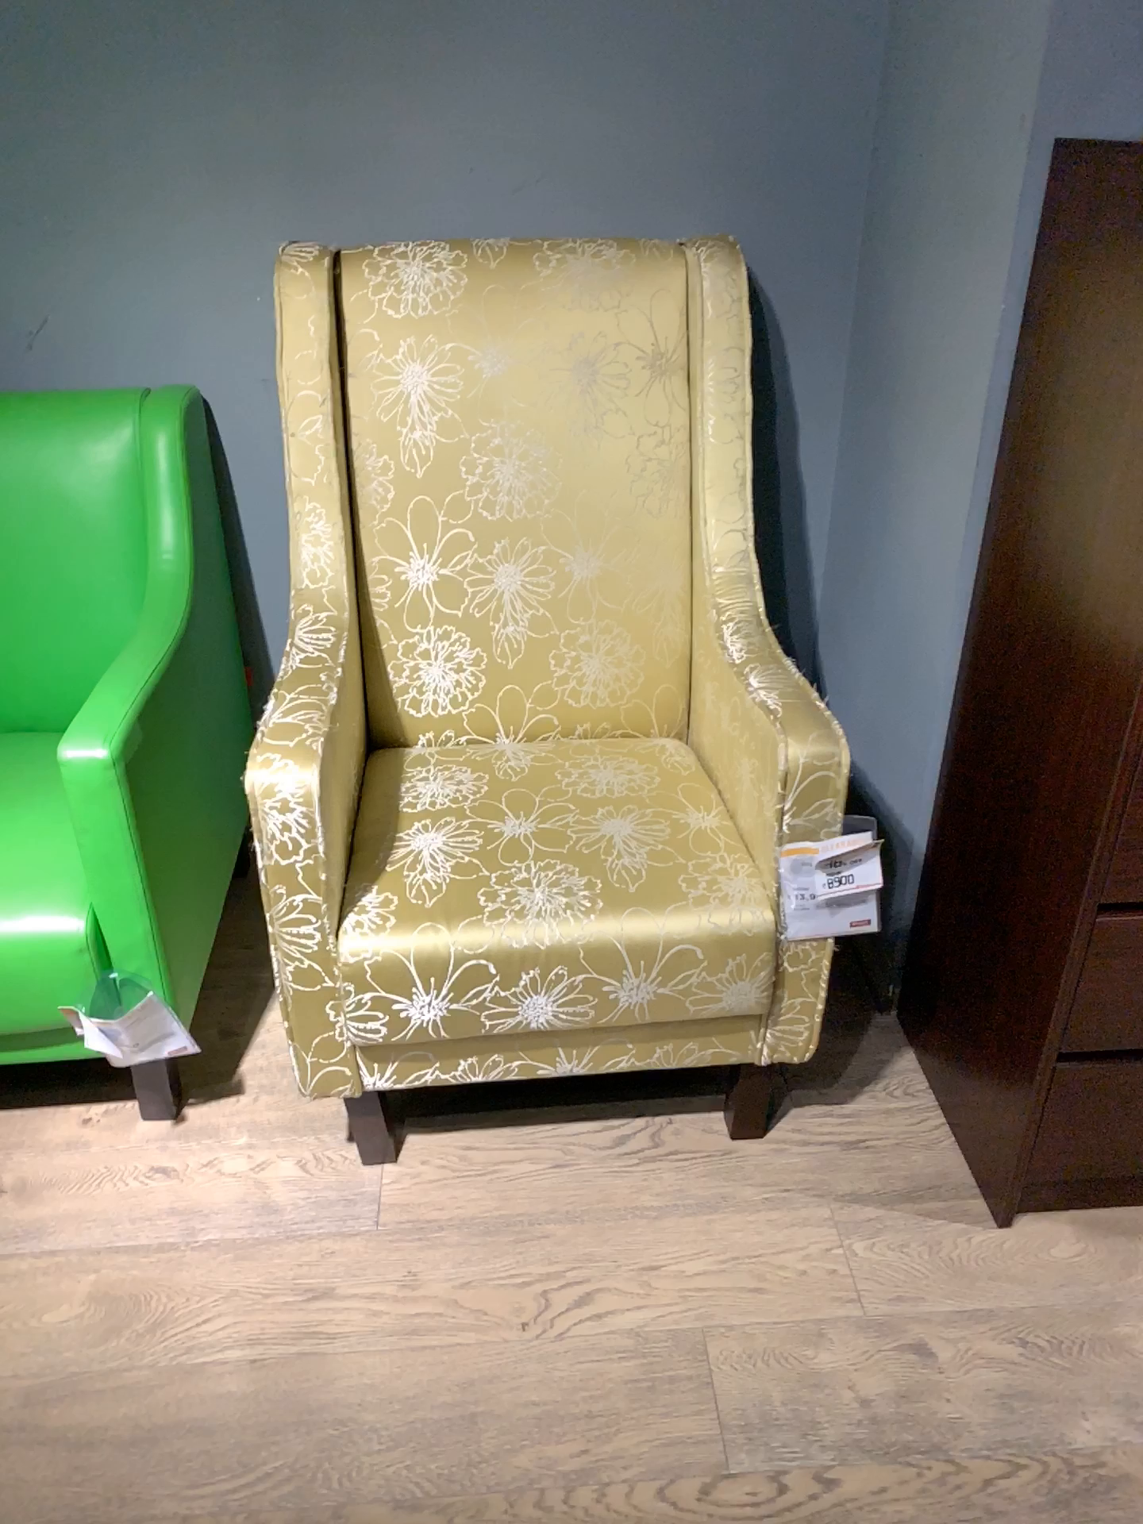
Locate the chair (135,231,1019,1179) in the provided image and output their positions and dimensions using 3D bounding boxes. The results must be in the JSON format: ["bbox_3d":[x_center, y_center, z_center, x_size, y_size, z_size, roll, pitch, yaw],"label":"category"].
[{"bbox_3d":[-0.026,-0.165,1.680,0.780,1.026,0.954,-2,29,-4],"label":"chair"}]
